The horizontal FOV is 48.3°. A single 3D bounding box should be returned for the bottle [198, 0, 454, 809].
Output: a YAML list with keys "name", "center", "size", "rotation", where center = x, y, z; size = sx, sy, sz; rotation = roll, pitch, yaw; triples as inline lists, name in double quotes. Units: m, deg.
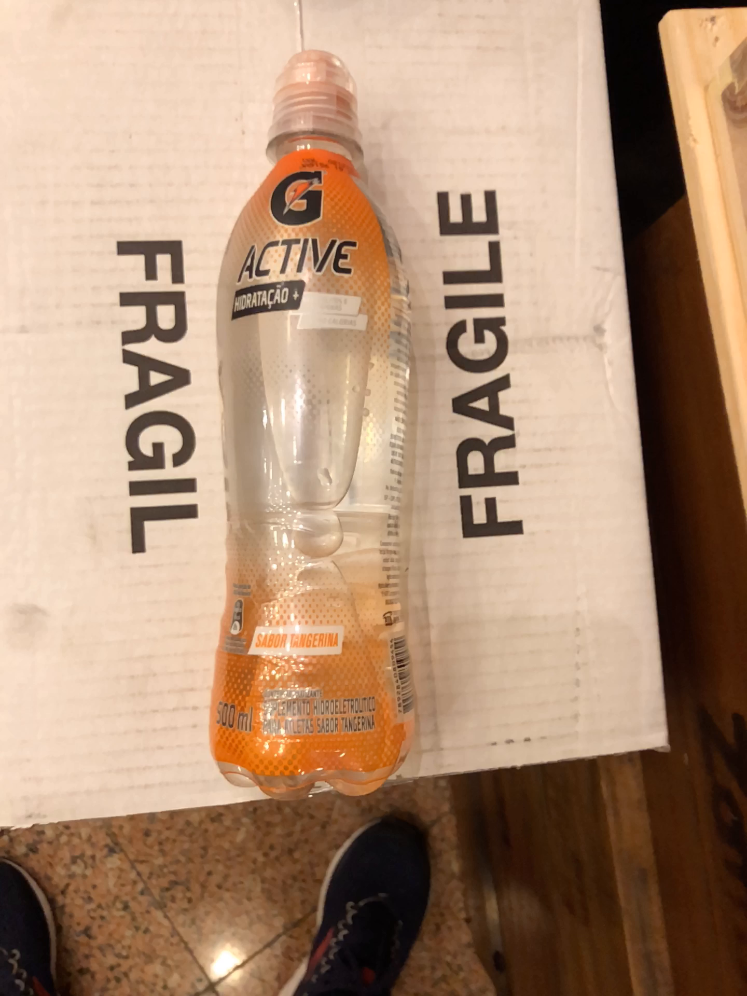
- name: "bottle"
  center: [-0.015, -0.039, 0.266]
  size: [0.070, 0.060, 0.250]
  rotation: [1, 86, -7]
